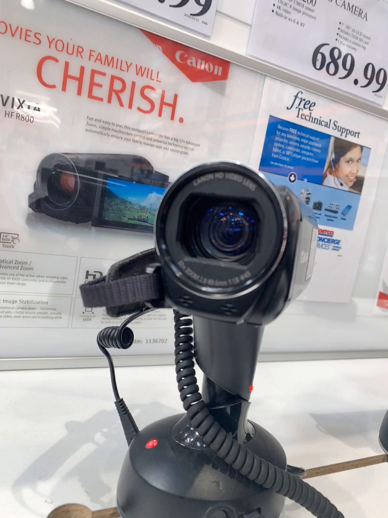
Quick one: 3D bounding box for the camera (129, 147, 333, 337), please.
[{"bbox_3d":[0.028,-0.011,0.183,0.050,0.050,0.125,13,8,21],"label":"camera"}]
